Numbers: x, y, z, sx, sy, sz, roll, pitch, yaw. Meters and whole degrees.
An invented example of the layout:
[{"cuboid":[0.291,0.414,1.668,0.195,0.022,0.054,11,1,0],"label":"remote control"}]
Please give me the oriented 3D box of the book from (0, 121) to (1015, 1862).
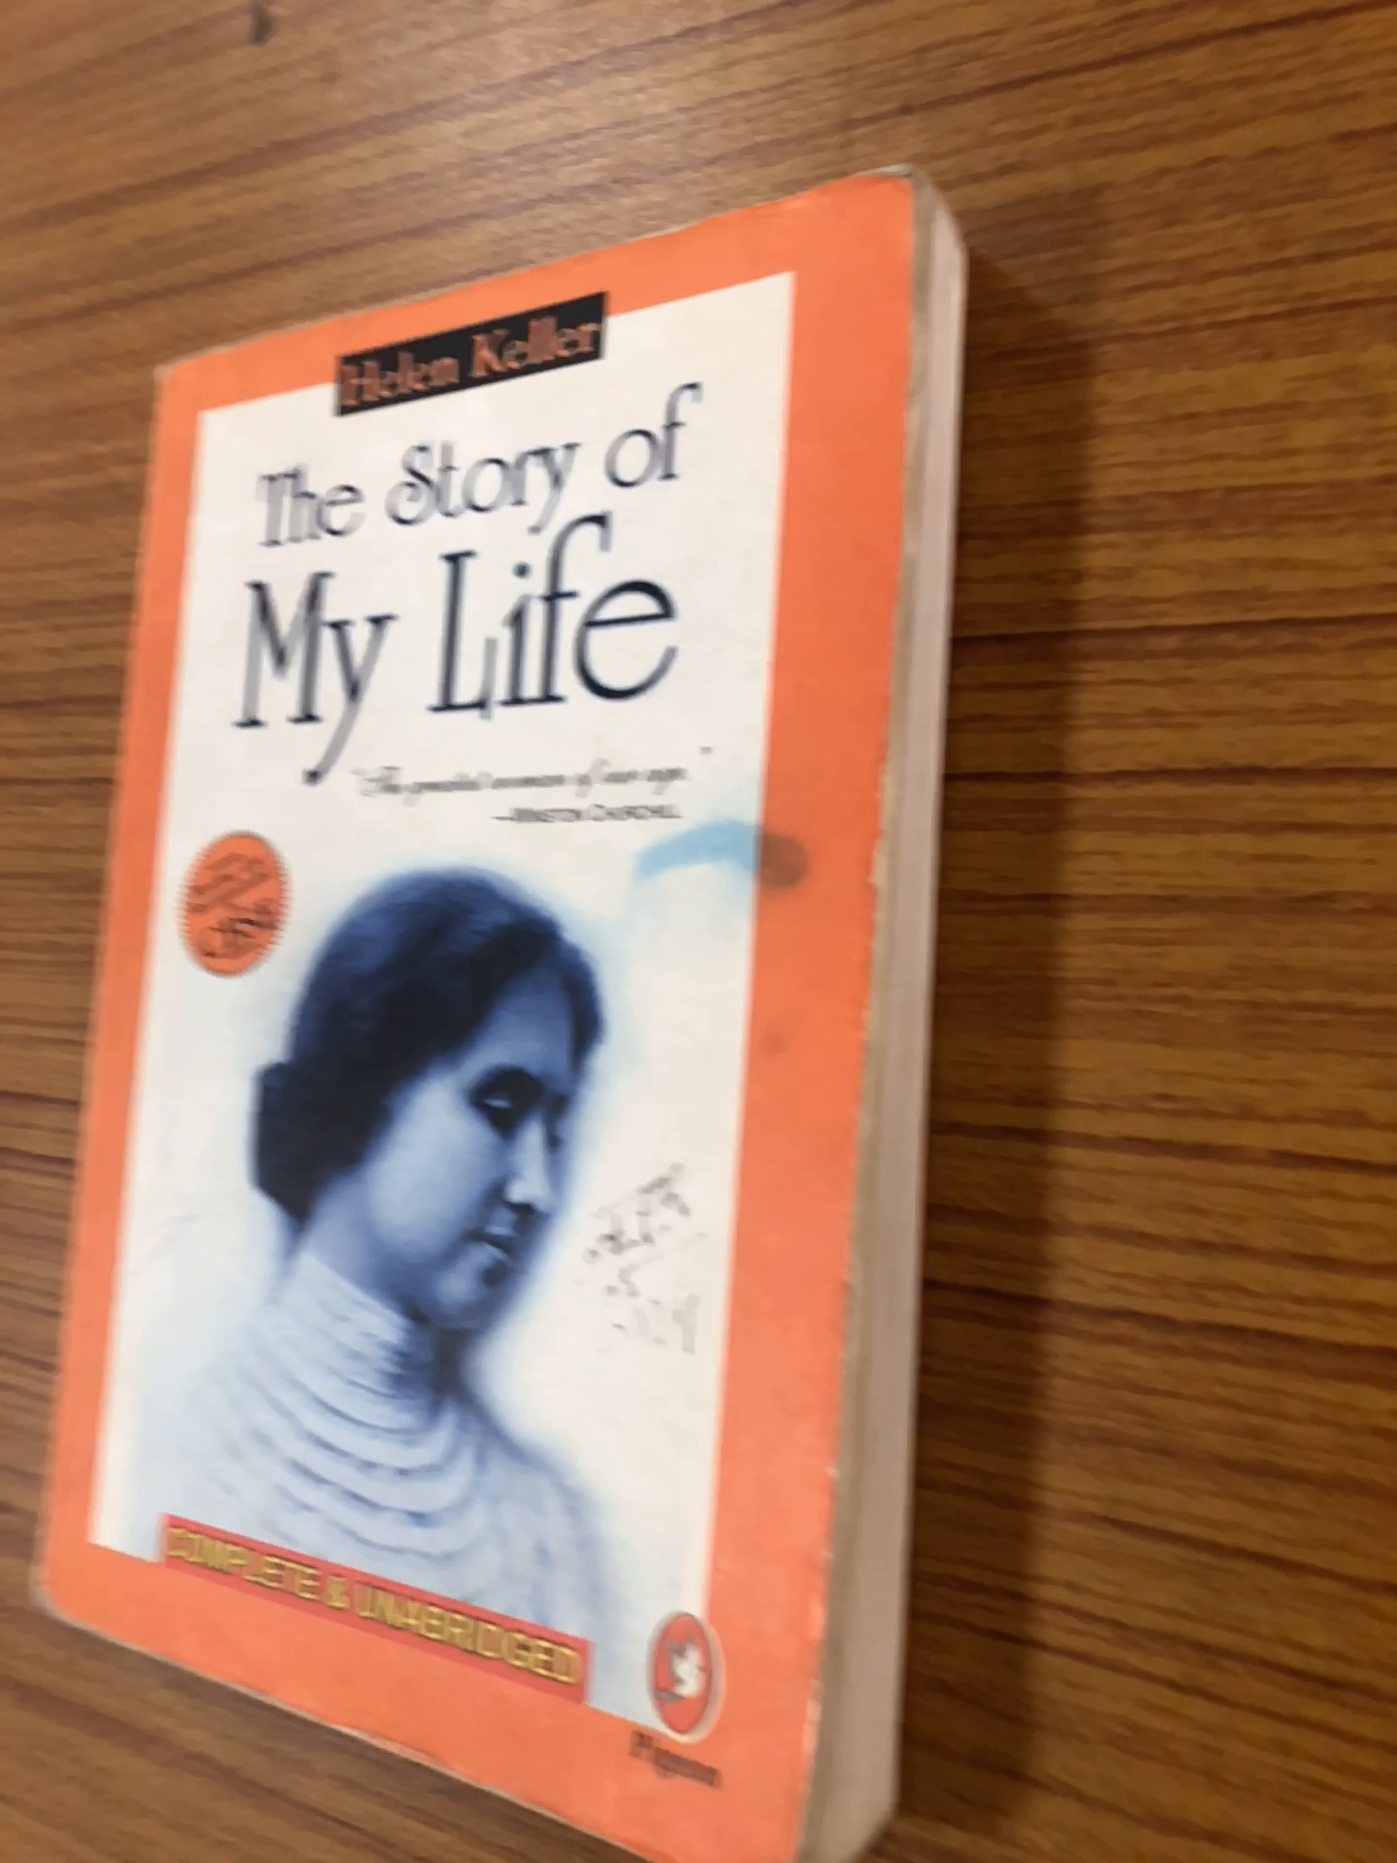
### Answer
[{"cuboid":[-0.029,0.007,0.188,0.120,0.030,0.170,1,84,31],"label":"book"}]
